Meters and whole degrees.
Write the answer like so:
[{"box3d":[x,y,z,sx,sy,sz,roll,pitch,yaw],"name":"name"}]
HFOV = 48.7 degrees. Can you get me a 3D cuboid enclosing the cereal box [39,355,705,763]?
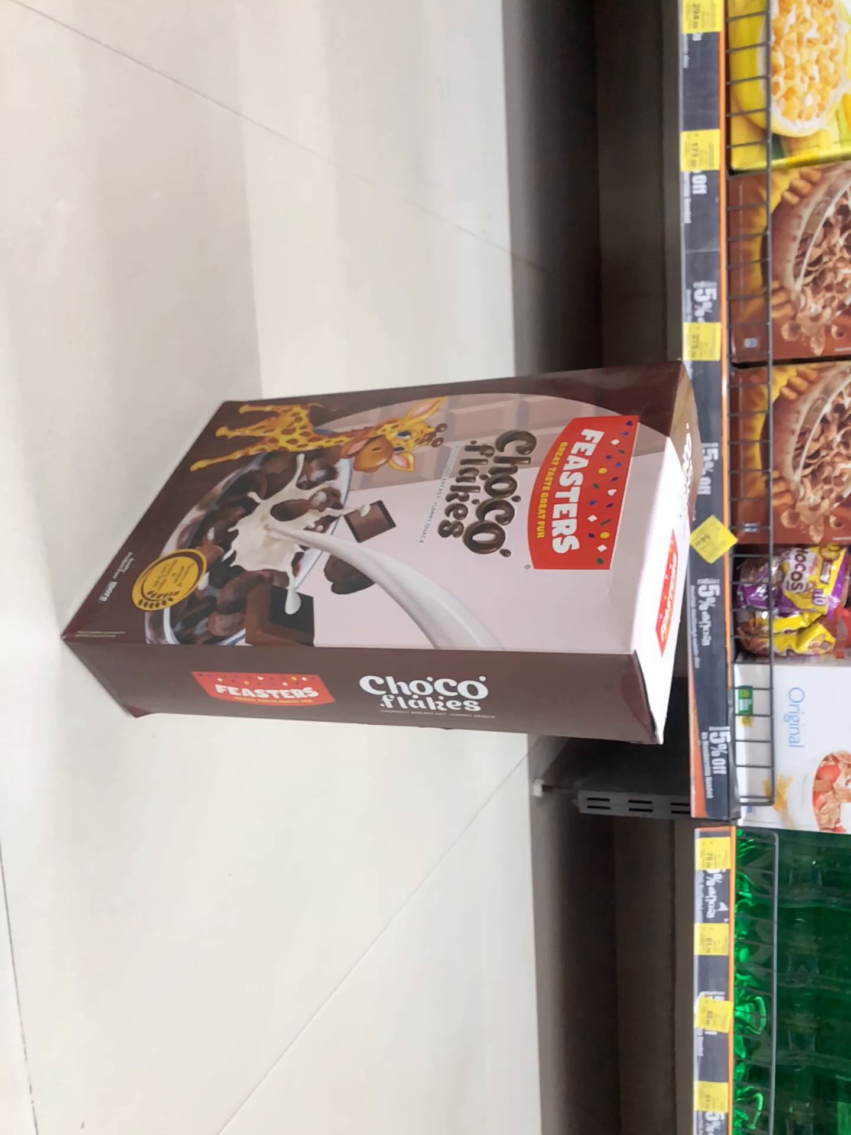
[{"box3d":[-0.013,-0.014,0.452,0.201,0.268,0.050,-70,151,-42],"name":"cereal box"}]
